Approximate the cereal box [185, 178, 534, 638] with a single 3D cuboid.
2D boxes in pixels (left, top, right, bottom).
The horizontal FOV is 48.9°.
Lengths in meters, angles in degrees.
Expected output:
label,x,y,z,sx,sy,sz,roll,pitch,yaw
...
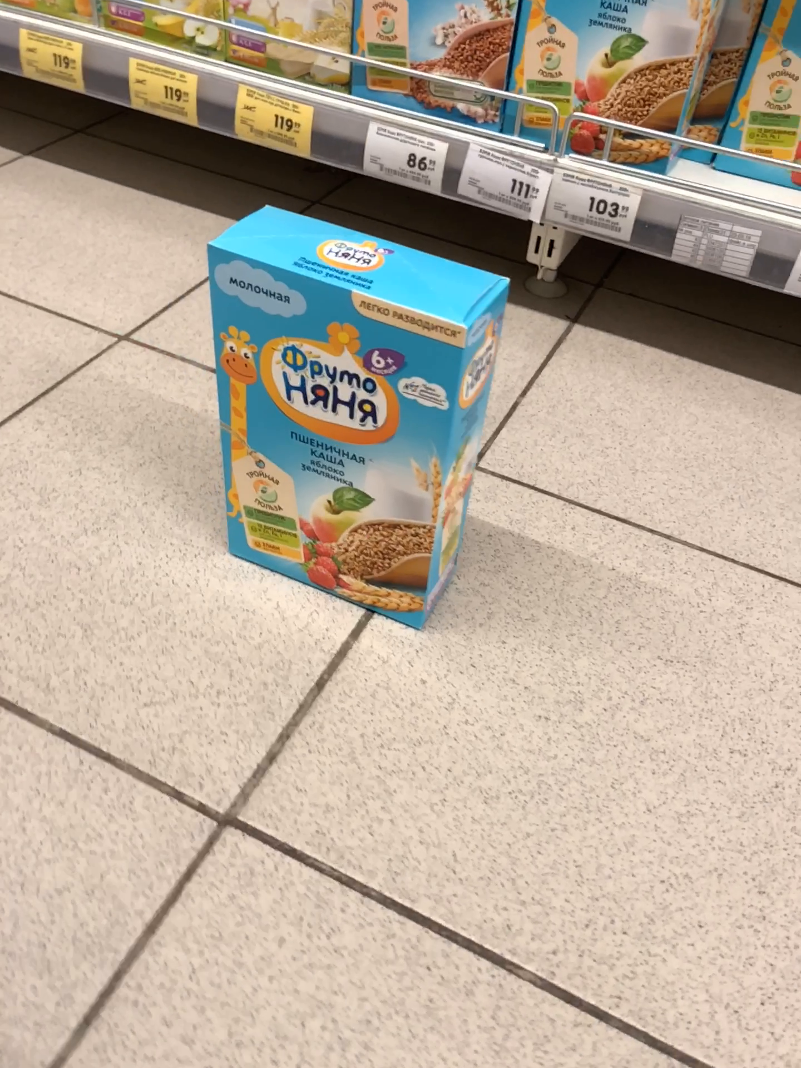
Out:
label,x,y,z,sx,sy,sz,roll,pitch,yaw
cereal box,-0.025,-0.057,0.453,0.140,0.199,0.060,21,46,15
